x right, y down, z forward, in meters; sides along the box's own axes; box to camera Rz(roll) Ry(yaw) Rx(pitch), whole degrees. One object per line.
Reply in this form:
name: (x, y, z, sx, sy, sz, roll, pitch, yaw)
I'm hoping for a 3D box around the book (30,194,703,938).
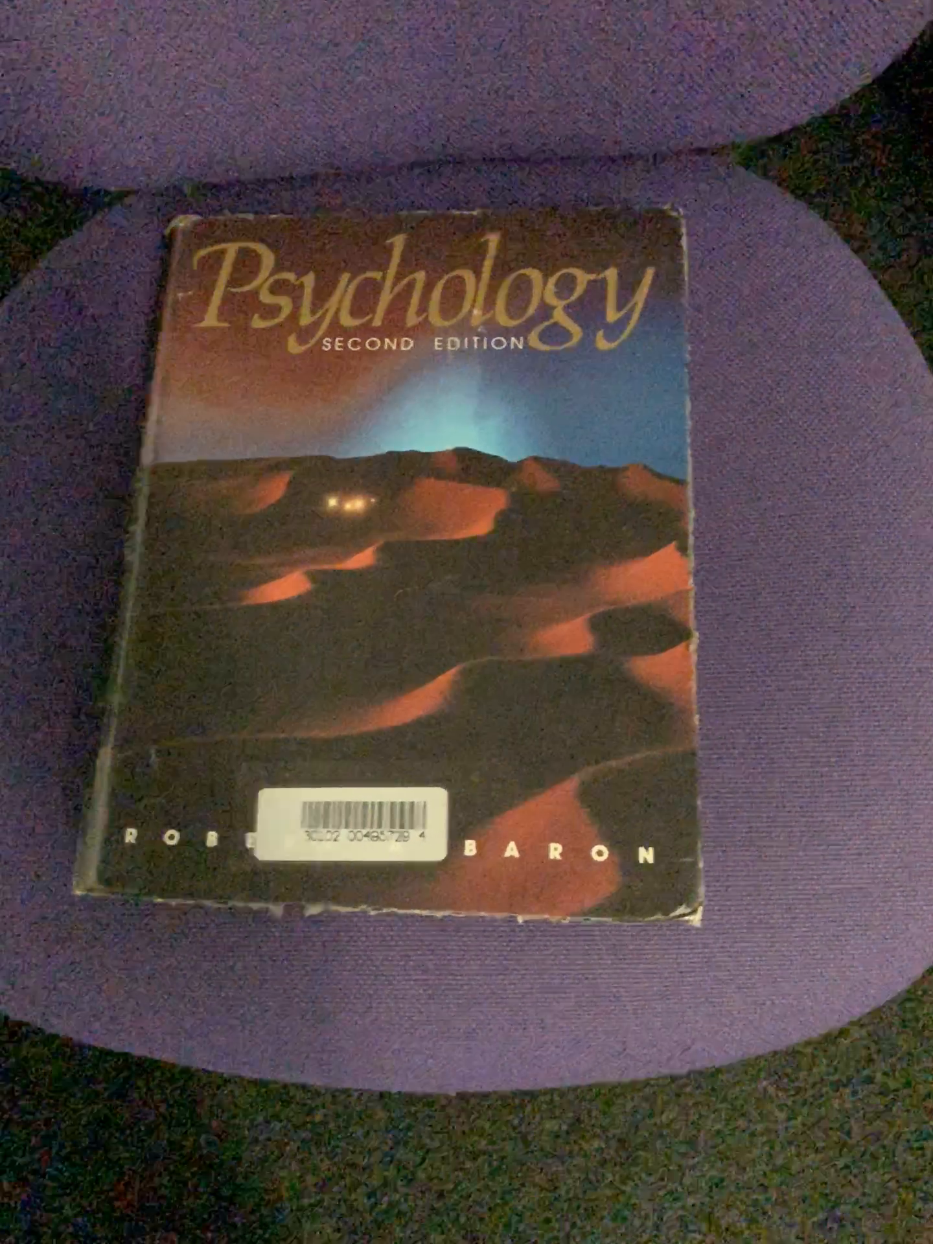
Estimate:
book: (-0.030, -0.031, 0.375, 0.230, 0.040, 0.281, 1, 76, 5)
